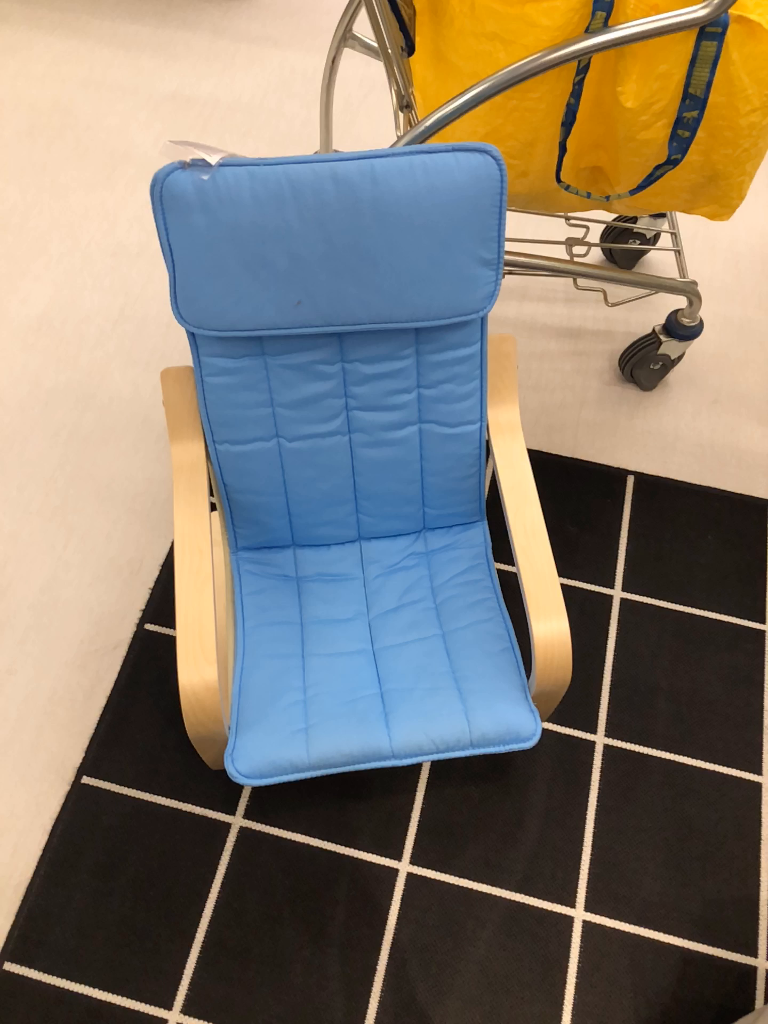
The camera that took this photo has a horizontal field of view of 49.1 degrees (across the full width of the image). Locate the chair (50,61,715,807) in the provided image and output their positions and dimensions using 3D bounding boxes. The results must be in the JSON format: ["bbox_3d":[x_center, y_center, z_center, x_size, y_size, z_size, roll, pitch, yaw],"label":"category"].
[{"bbox_3d":[-0.040,-0.006,1.133,0.490,0.876,0.562,-6,61,-5],"label":"chair"}]
